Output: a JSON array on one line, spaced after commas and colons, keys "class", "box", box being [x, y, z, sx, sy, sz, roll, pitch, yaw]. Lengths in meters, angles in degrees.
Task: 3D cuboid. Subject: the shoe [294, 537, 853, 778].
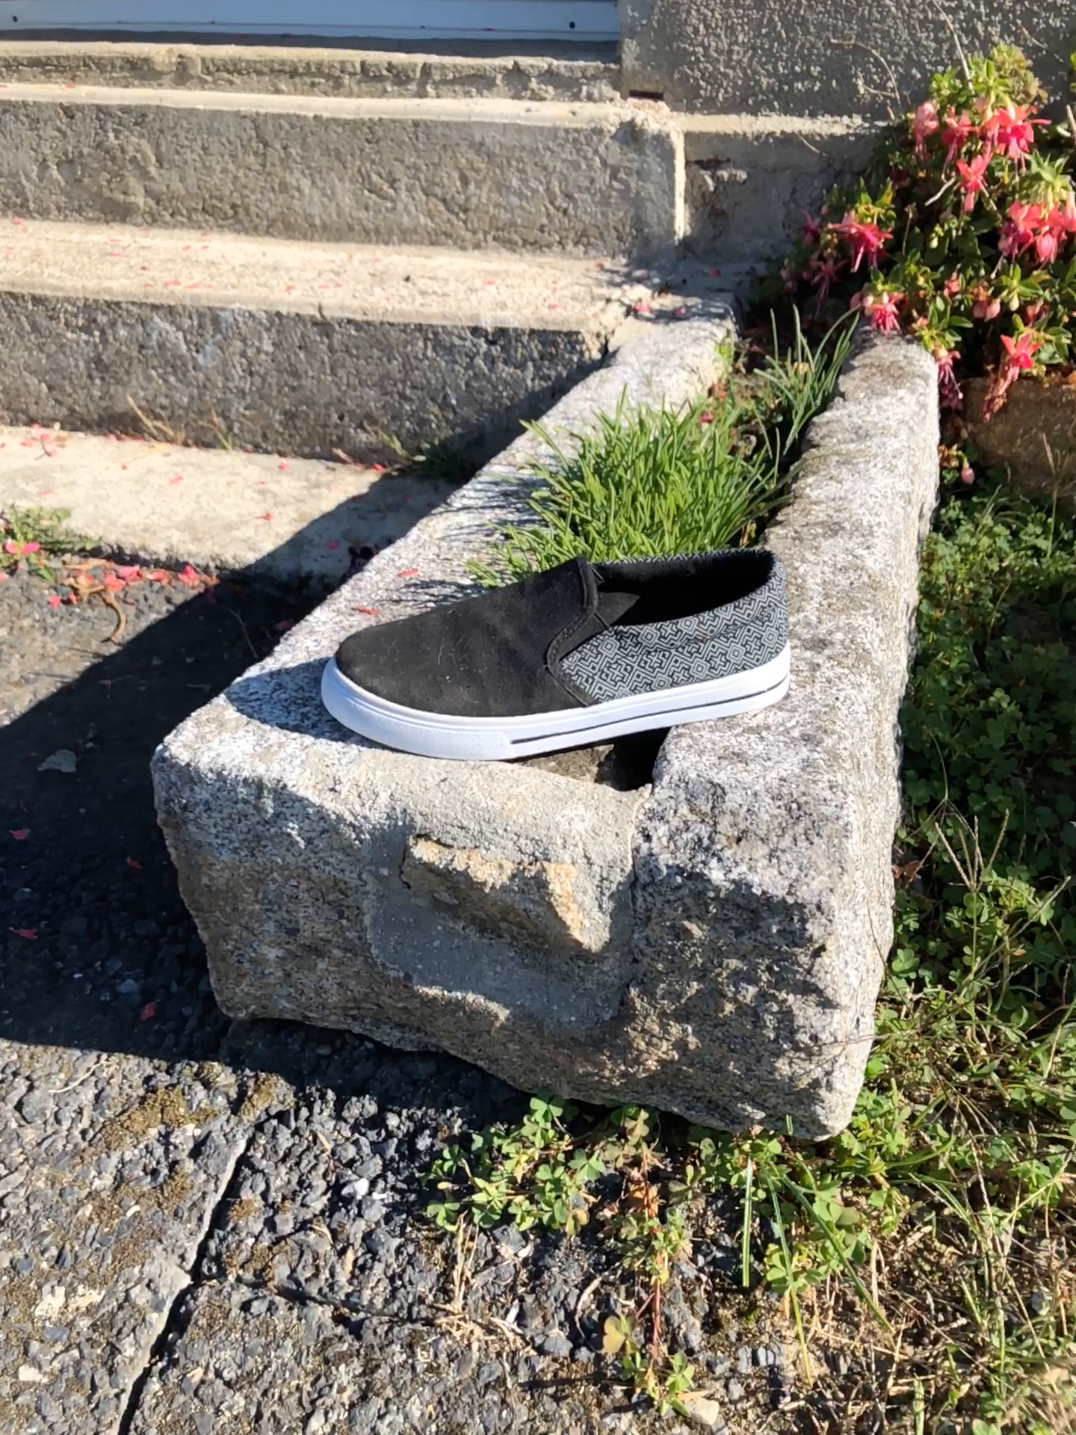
[{"class": "shoe", "box": [0.015, -0.034, 0.613, 0.260, 0.080, 0.101, -2, 31, -3]}]
